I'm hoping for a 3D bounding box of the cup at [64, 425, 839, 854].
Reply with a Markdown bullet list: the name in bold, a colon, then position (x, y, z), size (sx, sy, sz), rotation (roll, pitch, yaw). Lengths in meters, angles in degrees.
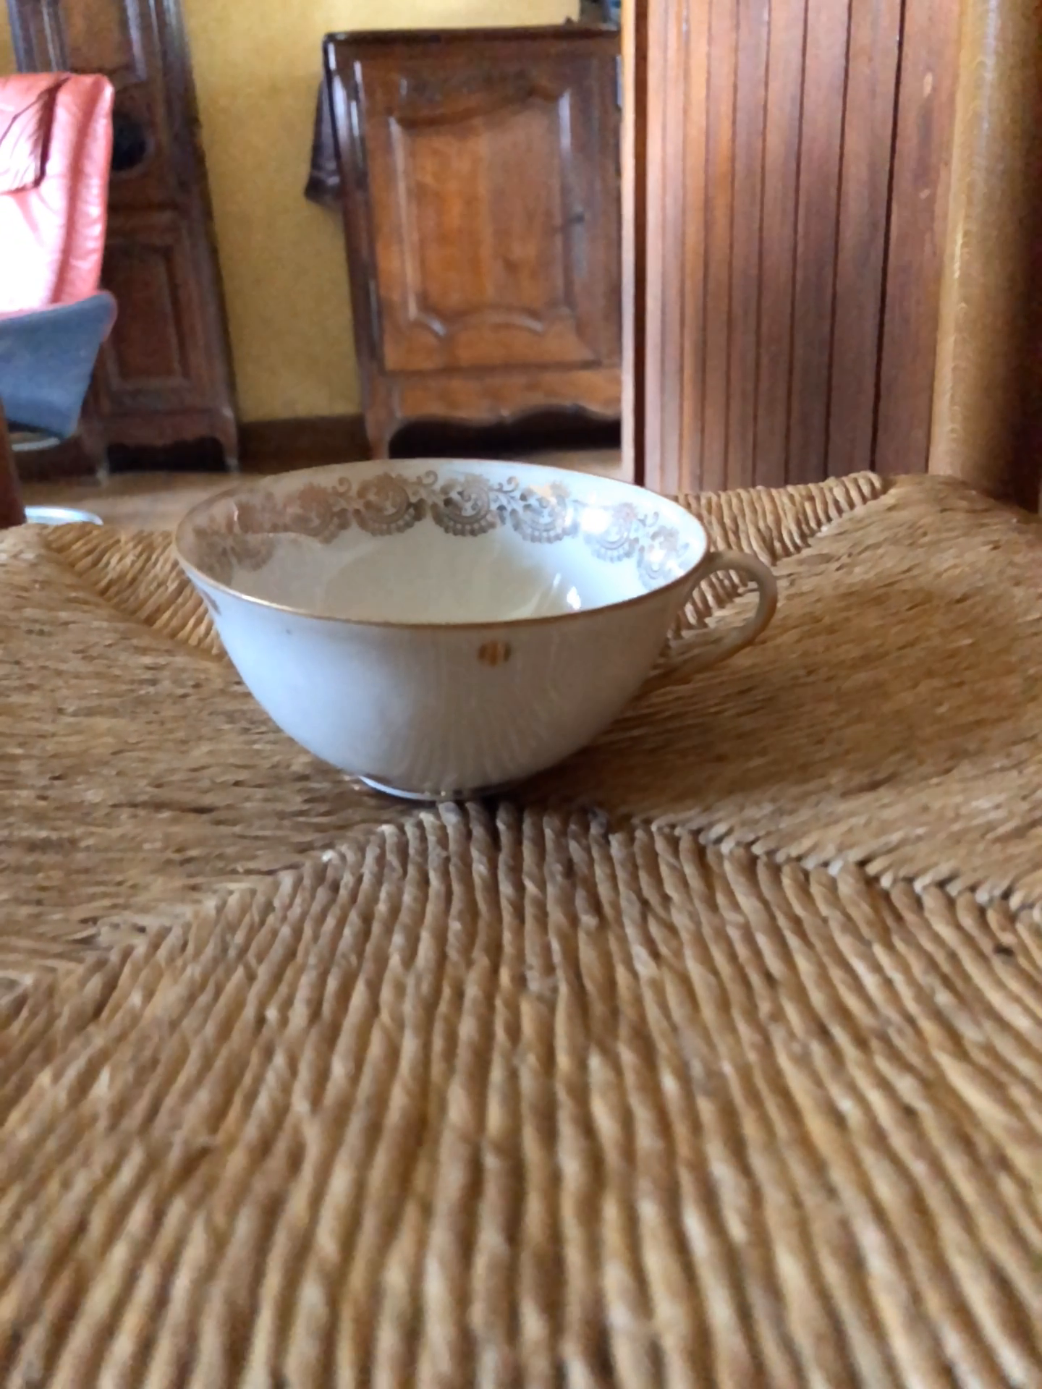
- **cup**: position (-0.013, -0.020, 0.253), size (0.130, 0.050, 0.111), rotation (-4, 23, -3)
